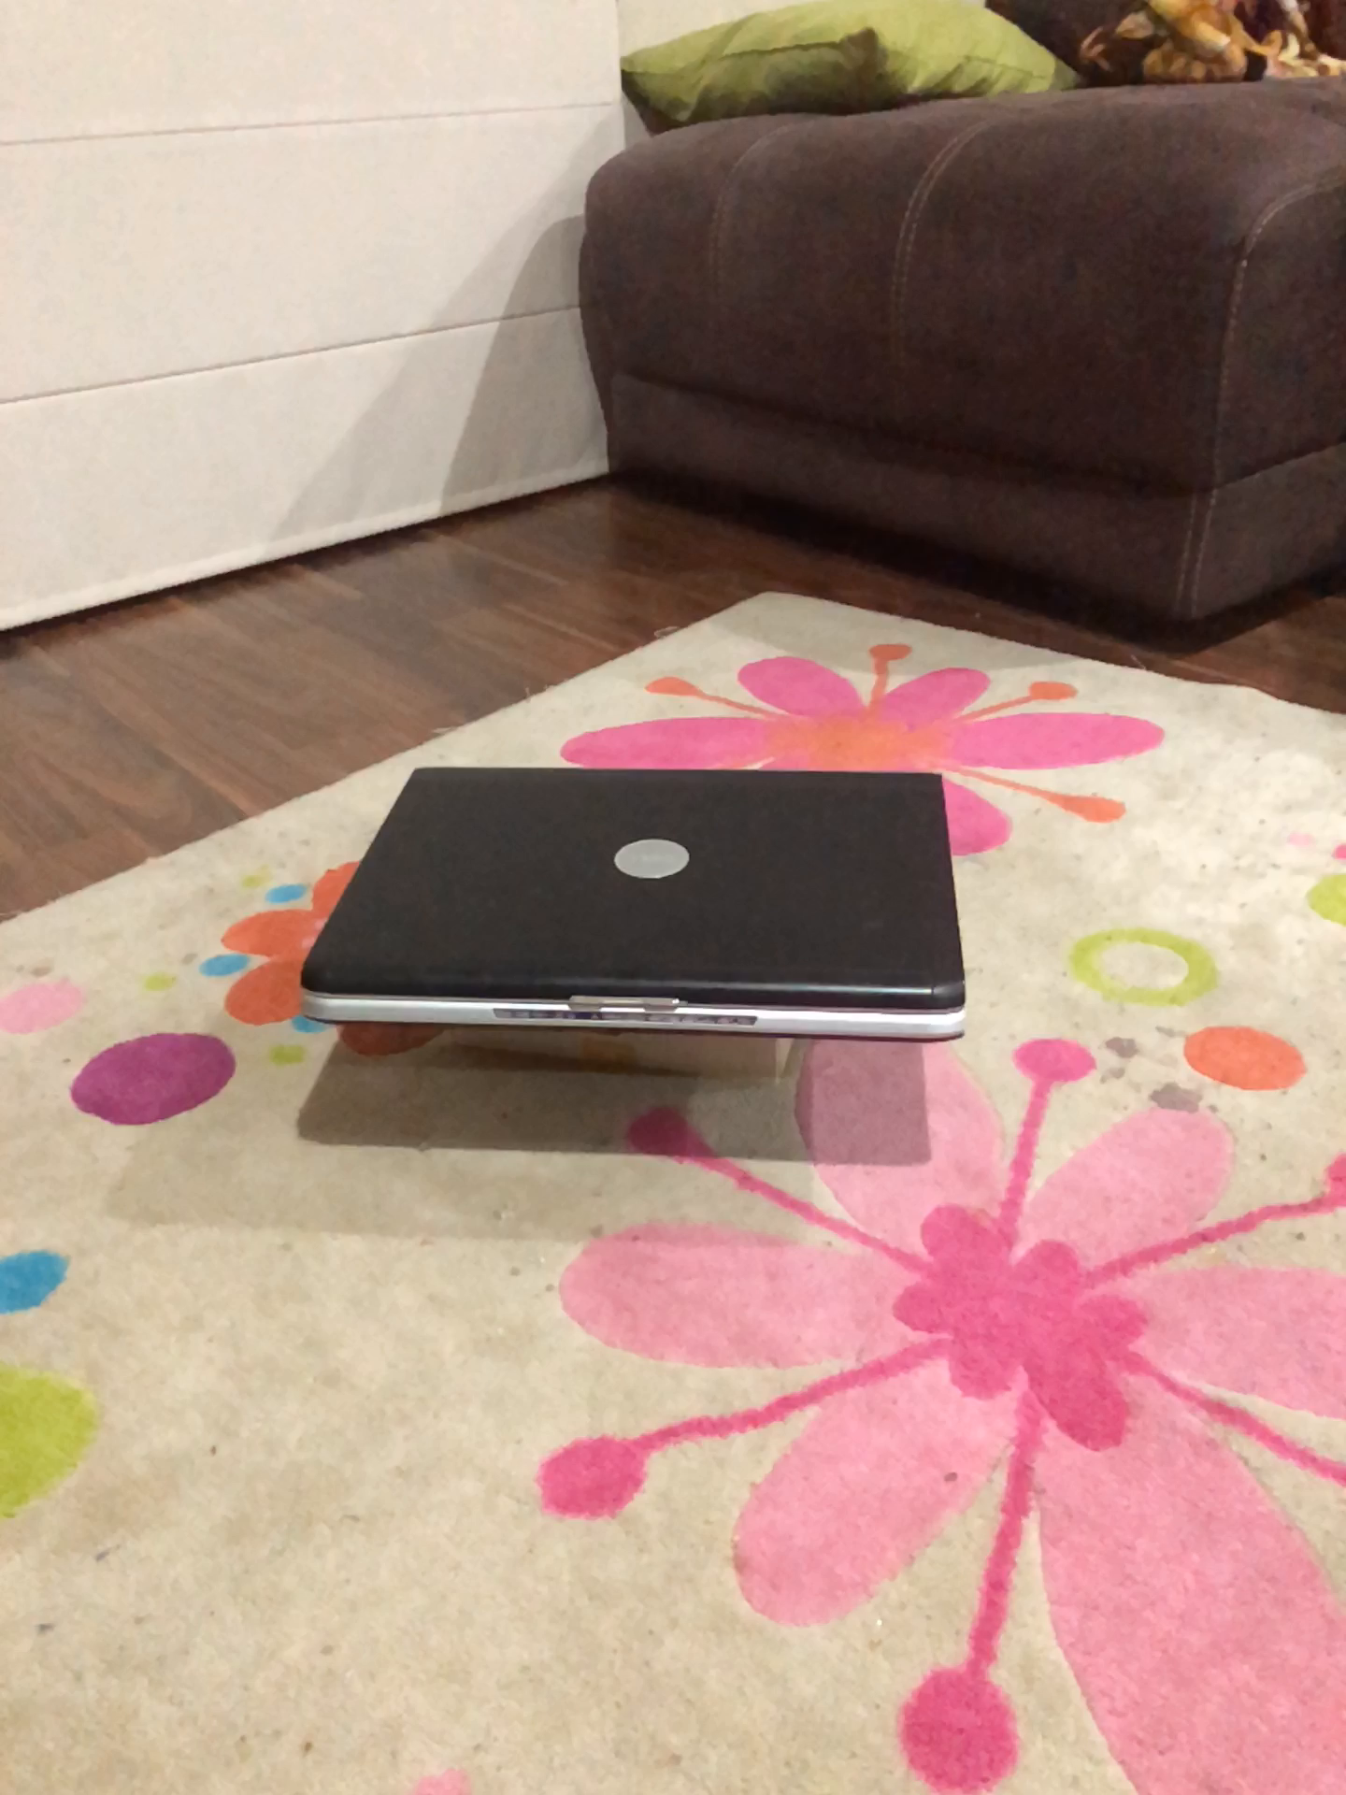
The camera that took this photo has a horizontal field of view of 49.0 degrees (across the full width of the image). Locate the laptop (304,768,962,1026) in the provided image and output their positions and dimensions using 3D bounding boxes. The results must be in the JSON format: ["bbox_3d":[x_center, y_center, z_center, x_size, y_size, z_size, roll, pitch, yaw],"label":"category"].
[{"bbox_3d":[-0.014,-0.010,0.875,0.353,0.015,0.233,0,35,10],"label":"laptop"}]
